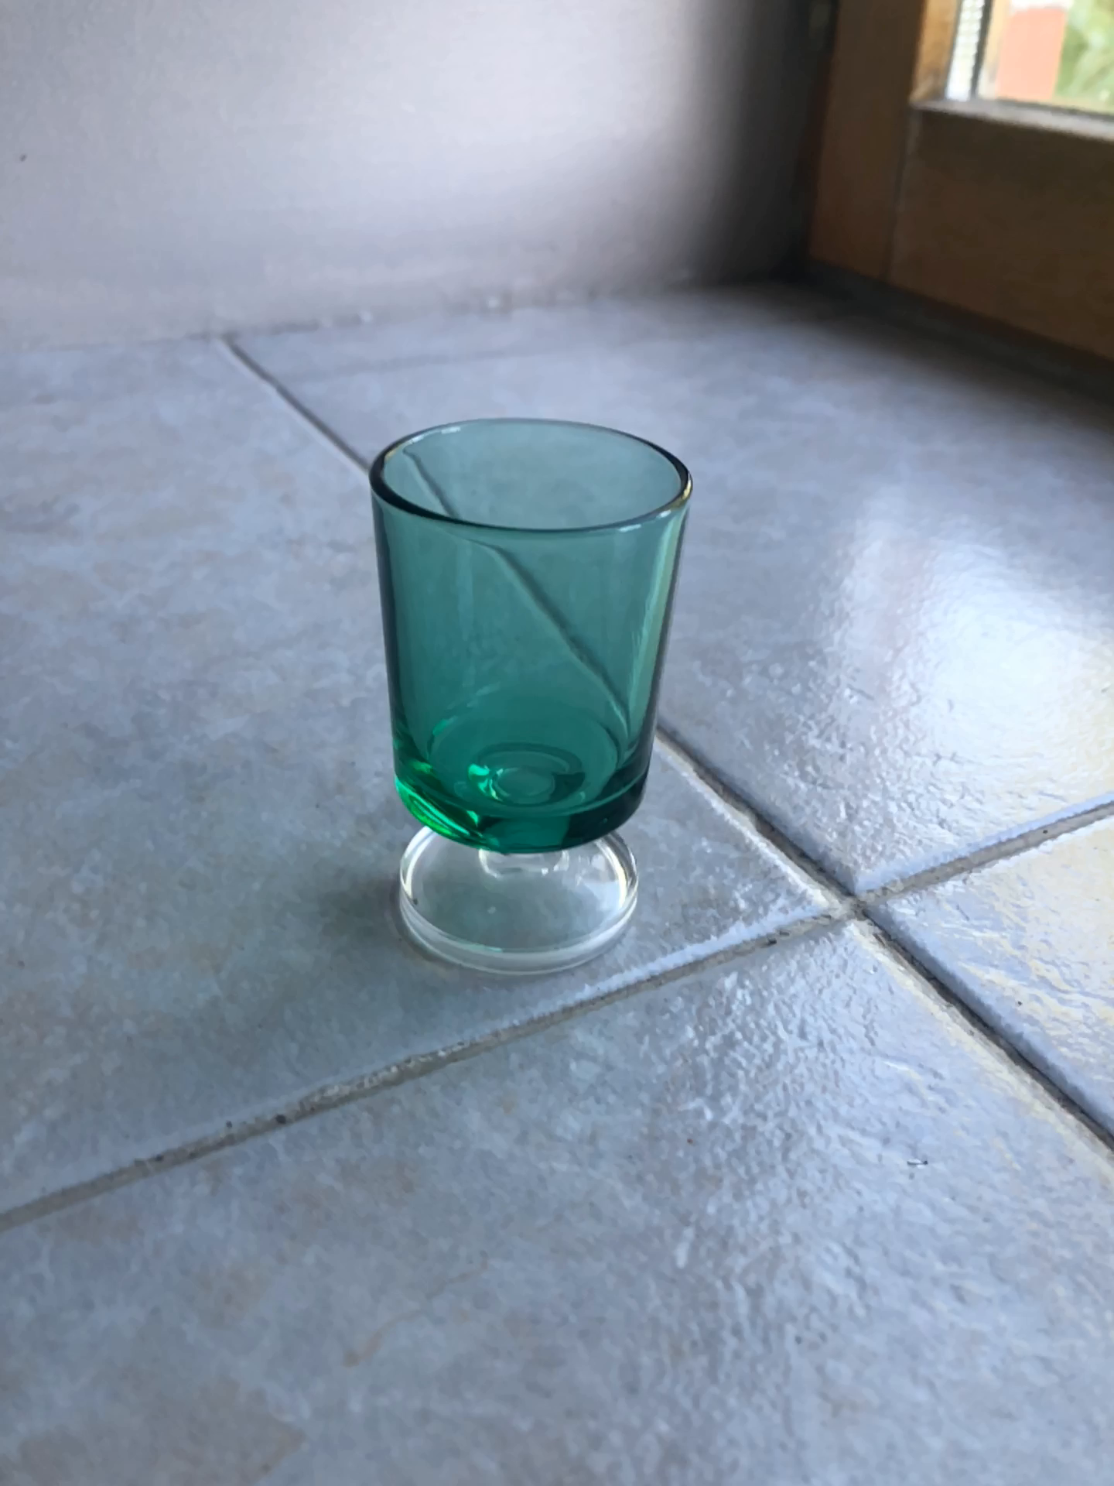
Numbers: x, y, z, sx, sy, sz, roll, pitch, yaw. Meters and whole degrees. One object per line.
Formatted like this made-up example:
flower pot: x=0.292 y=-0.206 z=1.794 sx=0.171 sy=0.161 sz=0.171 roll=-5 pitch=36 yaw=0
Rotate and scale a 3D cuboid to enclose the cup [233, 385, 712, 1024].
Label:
cup: x=-0.009 y=-0.007 z=0.173 sx=0.045 sy=0.068 sz=0.044 roll=1 pitch=33 yaw=0
